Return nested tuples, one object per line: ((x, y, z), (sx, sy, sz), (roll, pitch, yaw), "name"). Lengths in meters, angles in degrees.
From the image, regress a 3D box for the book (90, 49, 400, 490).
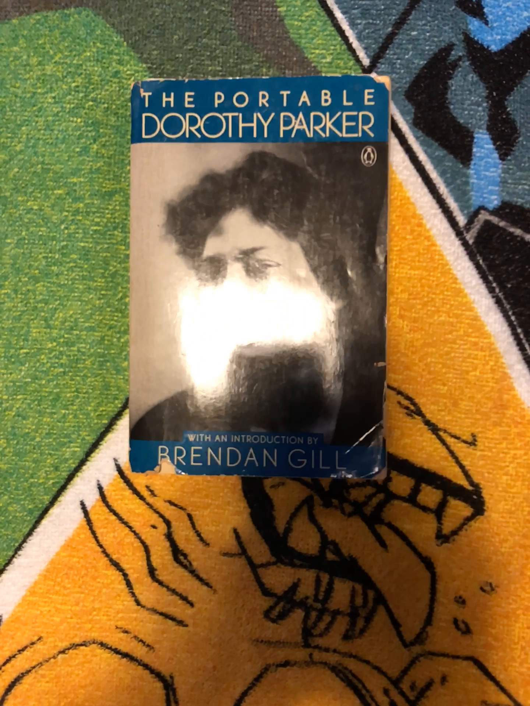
((-0.009, -0.037, 0.290), (0.140, 0.040, 0.200), (0, 91, 1), "book")
